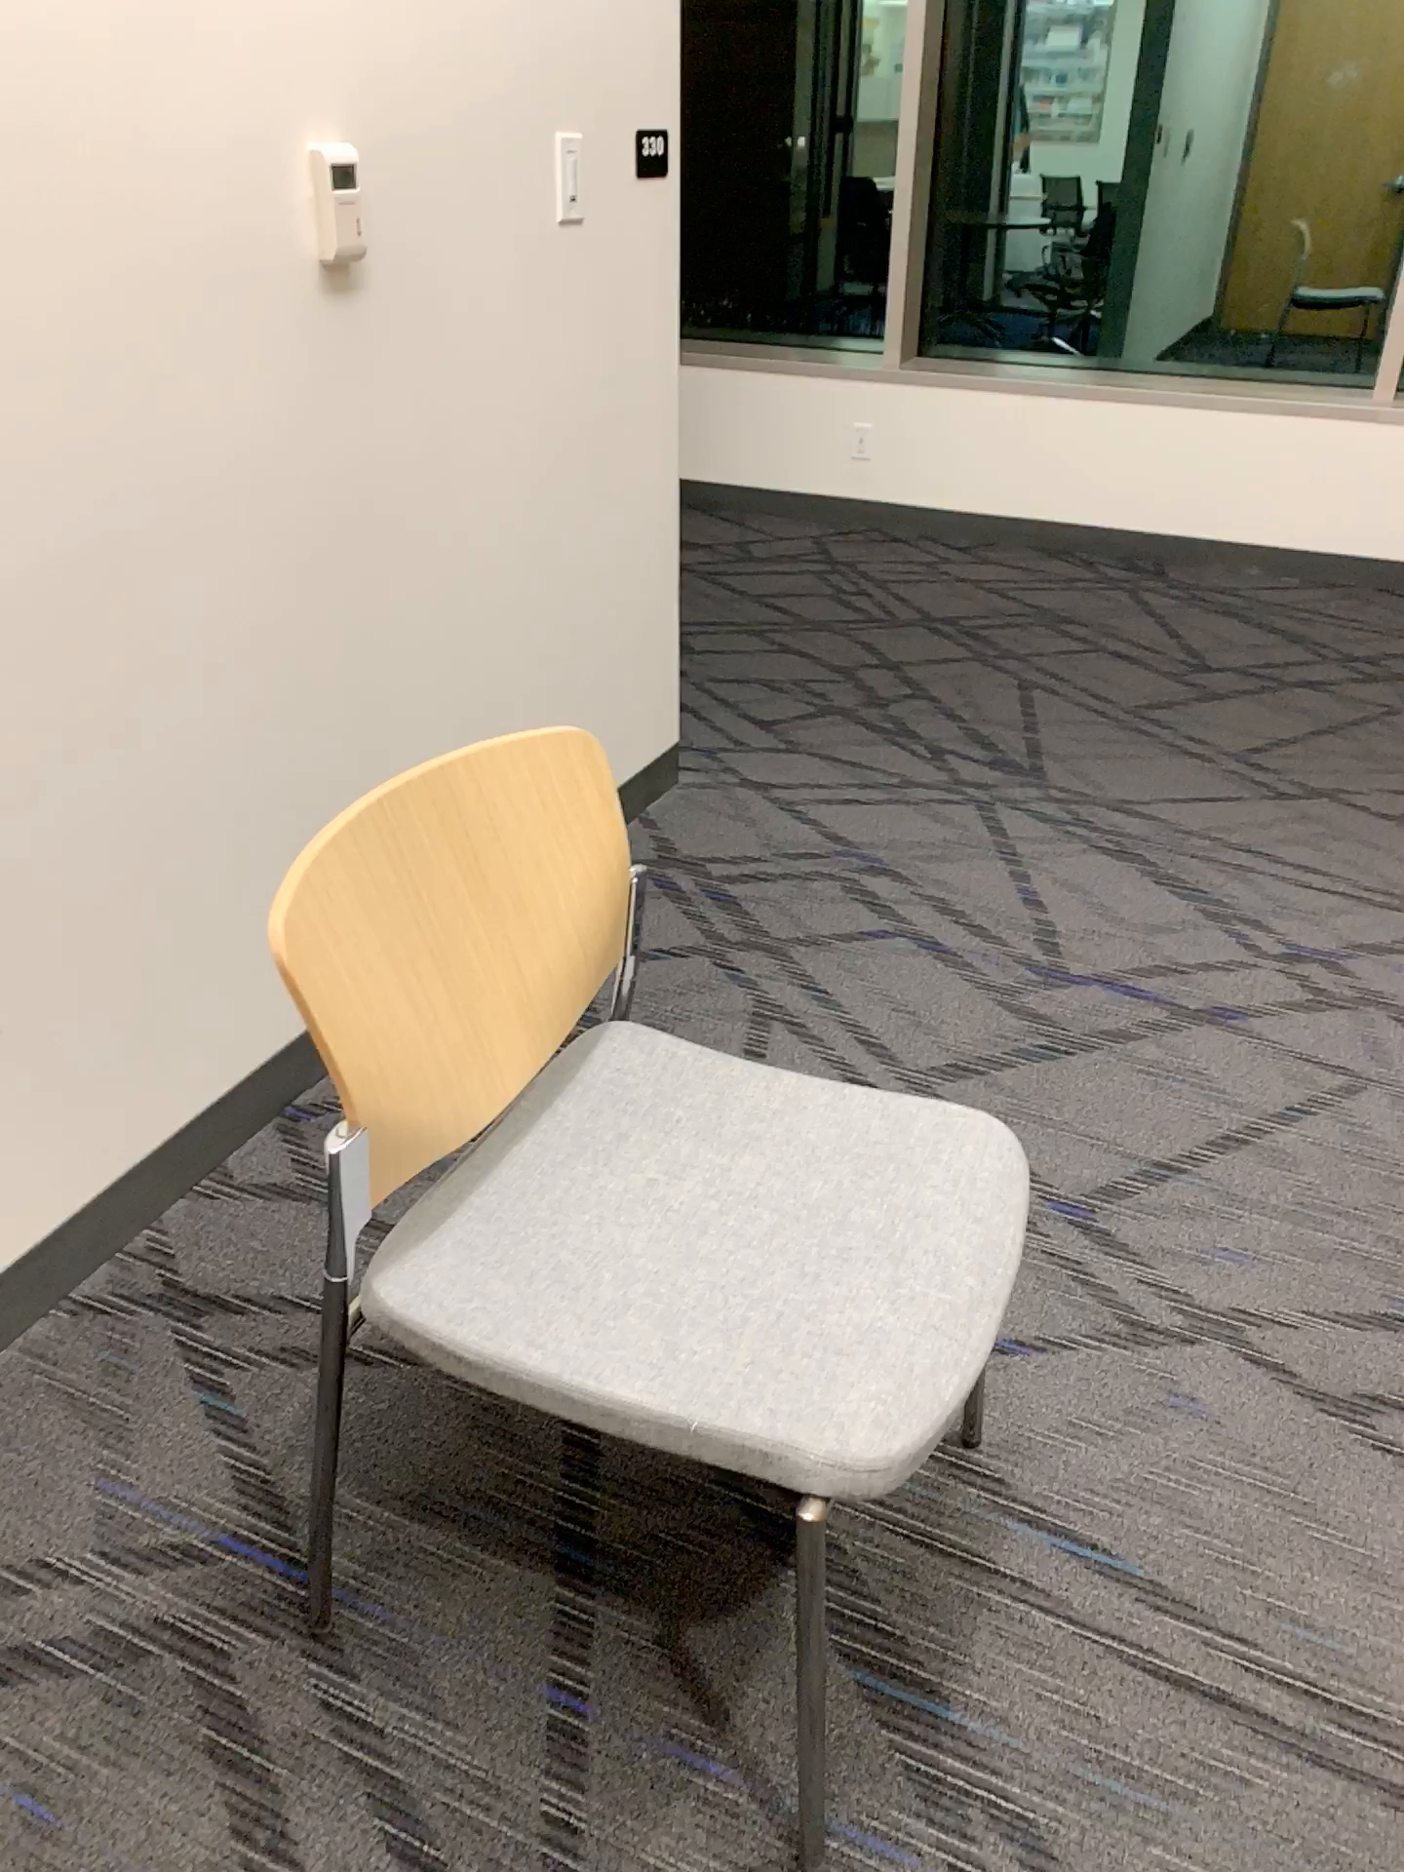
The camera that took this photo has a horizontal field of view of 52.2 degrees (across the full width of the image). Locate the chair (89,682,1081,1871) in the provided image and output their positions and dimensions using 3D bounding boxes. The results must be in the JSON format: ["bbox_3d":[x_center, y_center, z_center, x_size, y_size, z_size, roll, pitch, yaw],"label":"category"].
[{"bbox_3d":[-0.043,0.247,1.222,0.536,0.704,0.558,12,31,19],"label":"chair"}]
